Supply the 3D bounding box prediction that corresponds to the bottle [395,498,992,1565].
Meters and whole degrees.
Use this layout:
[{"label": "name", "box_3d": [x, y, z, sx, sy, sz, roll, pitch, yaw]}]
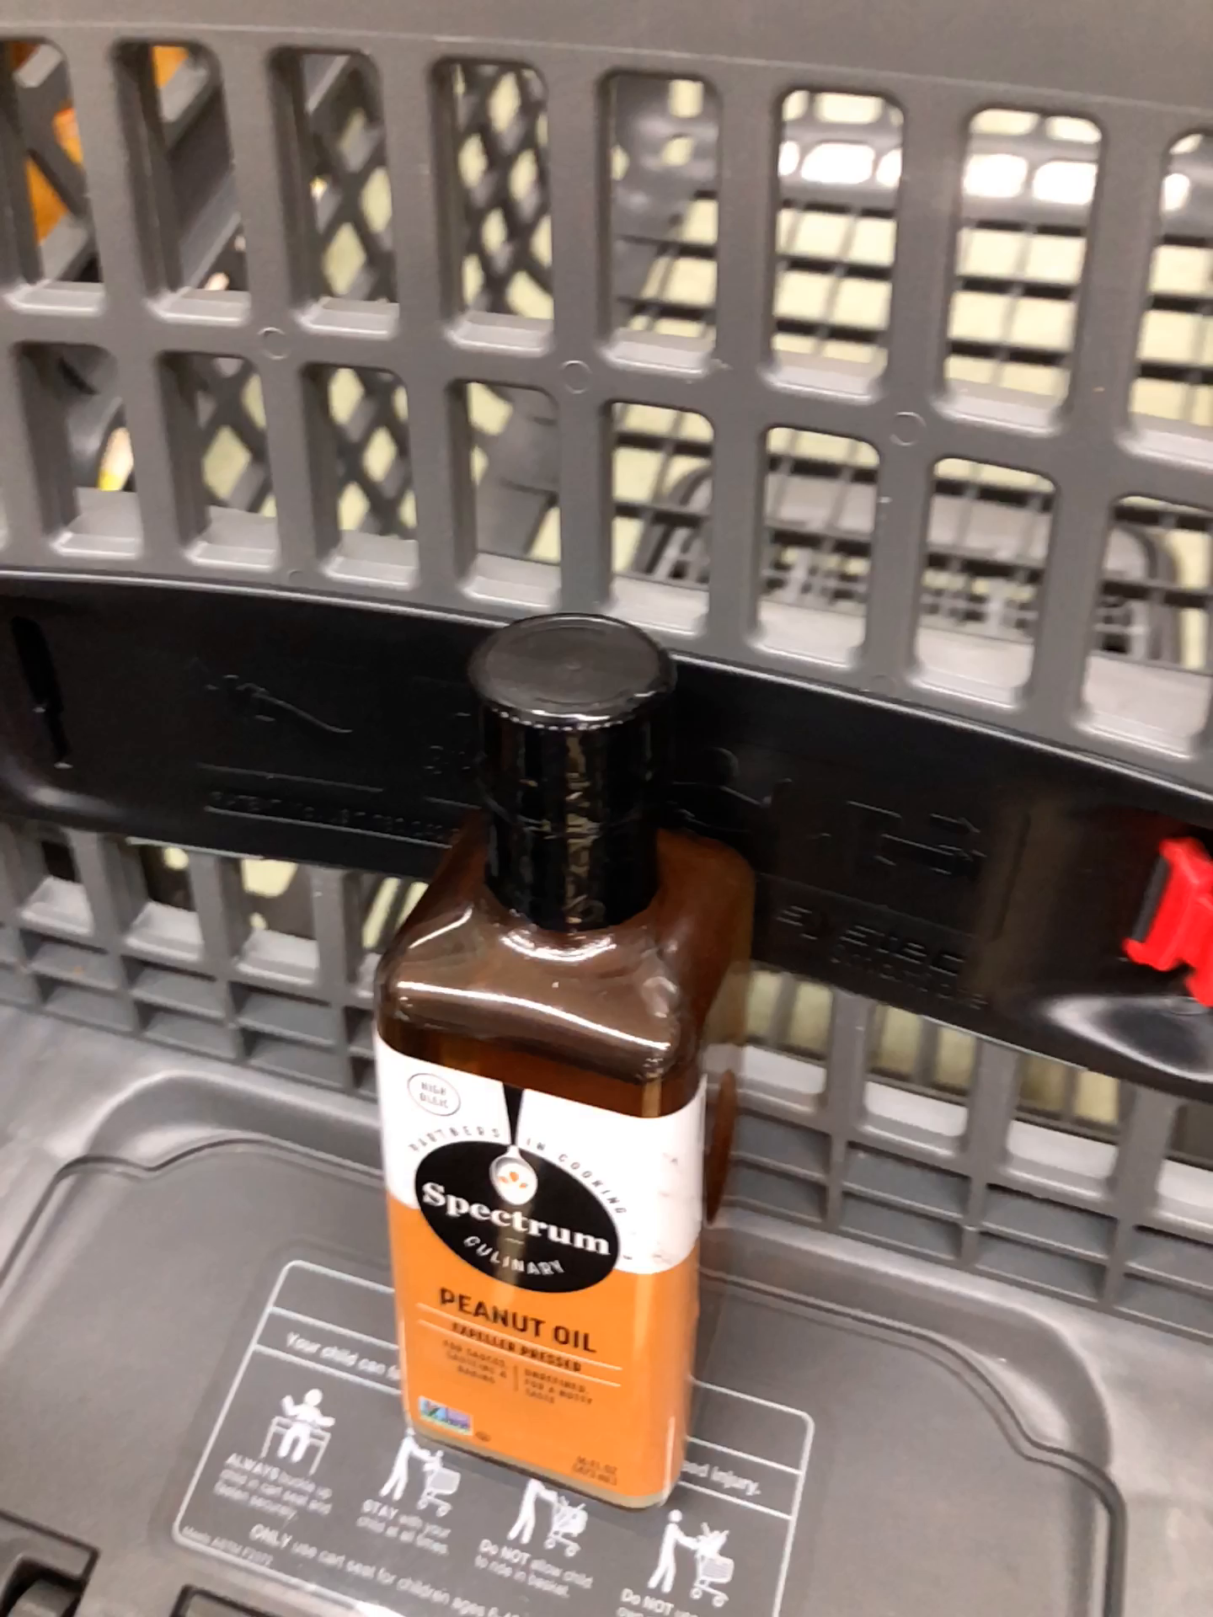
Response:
[{"label": "bottle", "box_3d": [0.015, 0.050, 0.251, 0.070, 0.190, 0.070, 1, 37, 0]}]
